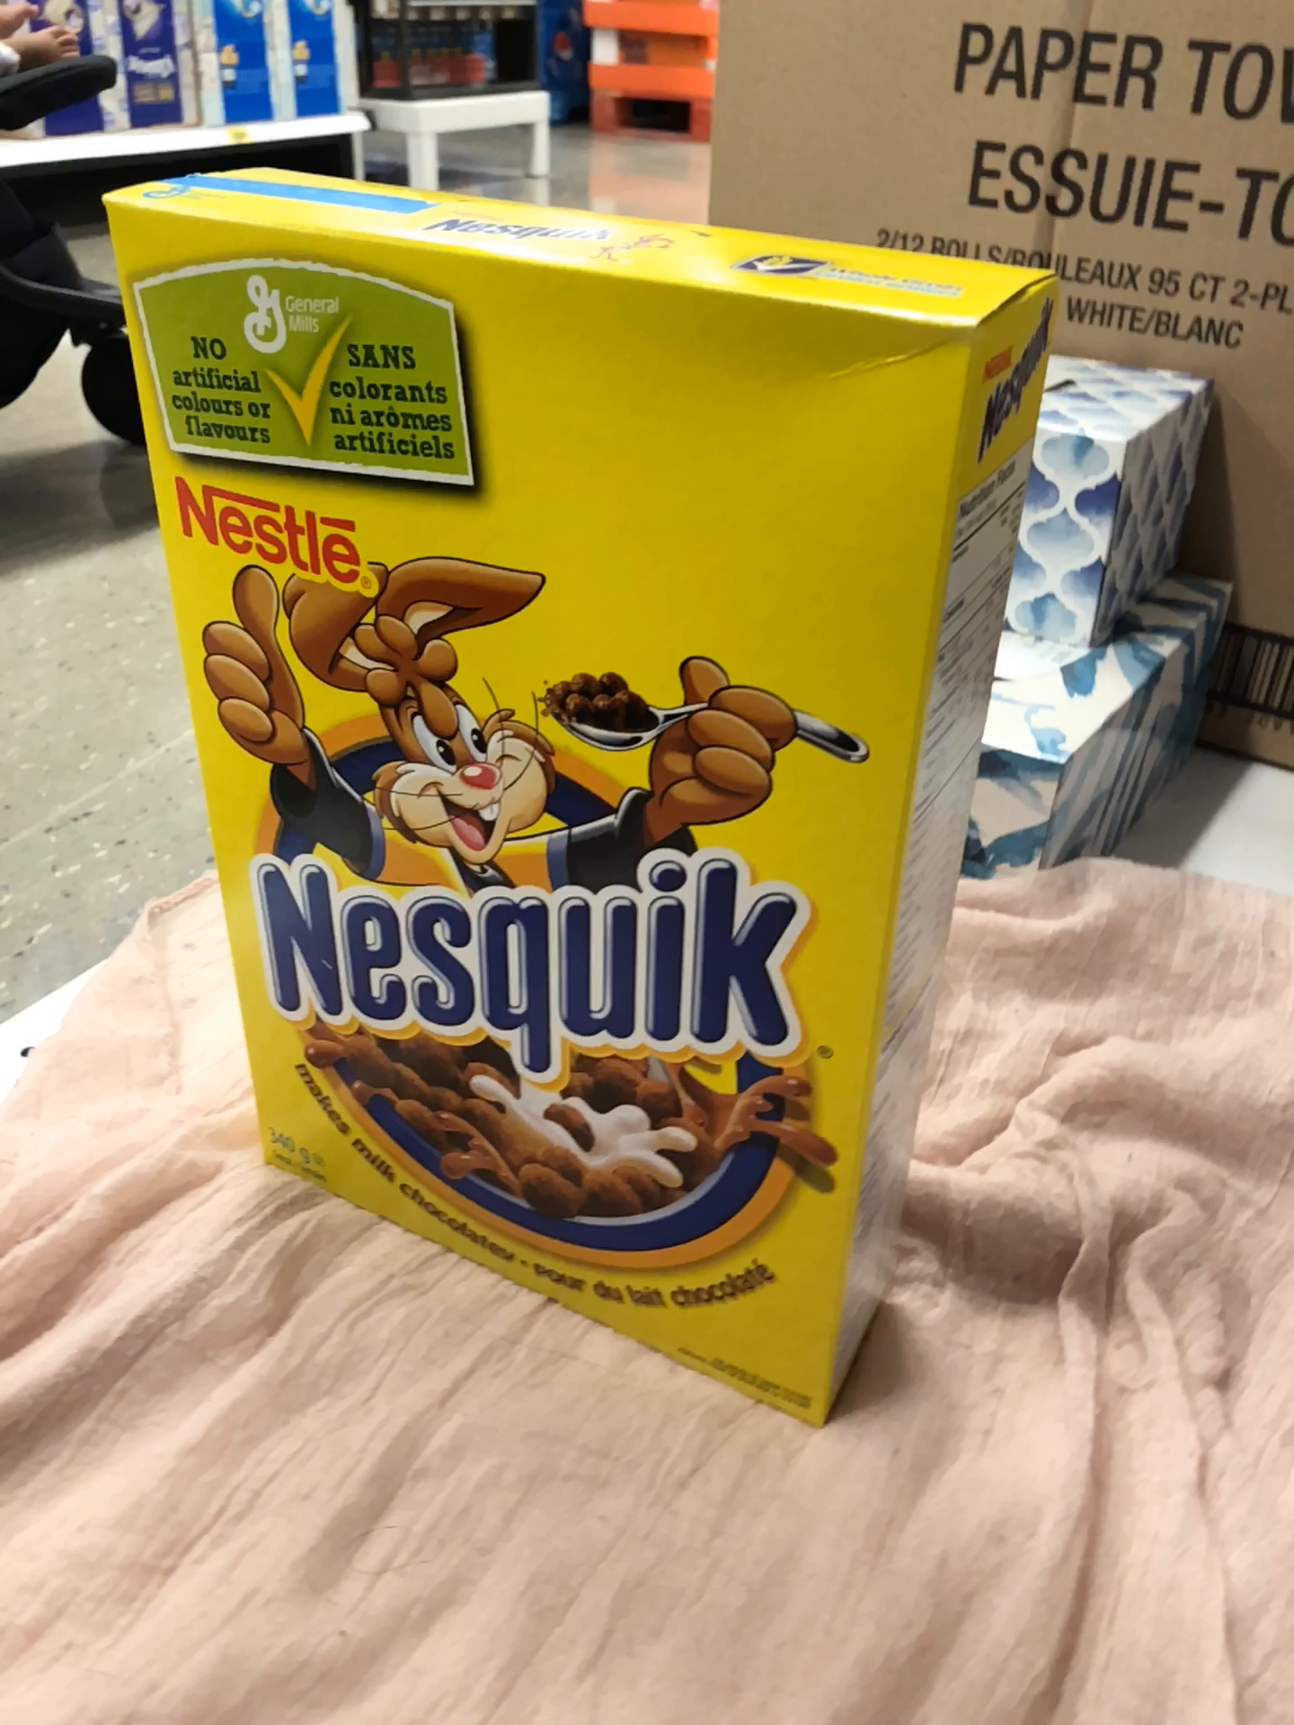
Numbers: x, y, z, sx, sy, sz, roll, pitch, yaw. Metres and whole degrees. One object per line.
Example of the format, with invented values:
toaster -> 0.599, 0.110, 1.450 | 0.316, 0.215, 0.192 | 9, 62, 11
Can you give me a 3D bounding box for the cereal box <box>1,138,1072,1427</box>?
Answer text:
cereal box -> -0.029, -0.016, 0.338 | 0.200, 0.259, 0.060 | 18, 37, 25
